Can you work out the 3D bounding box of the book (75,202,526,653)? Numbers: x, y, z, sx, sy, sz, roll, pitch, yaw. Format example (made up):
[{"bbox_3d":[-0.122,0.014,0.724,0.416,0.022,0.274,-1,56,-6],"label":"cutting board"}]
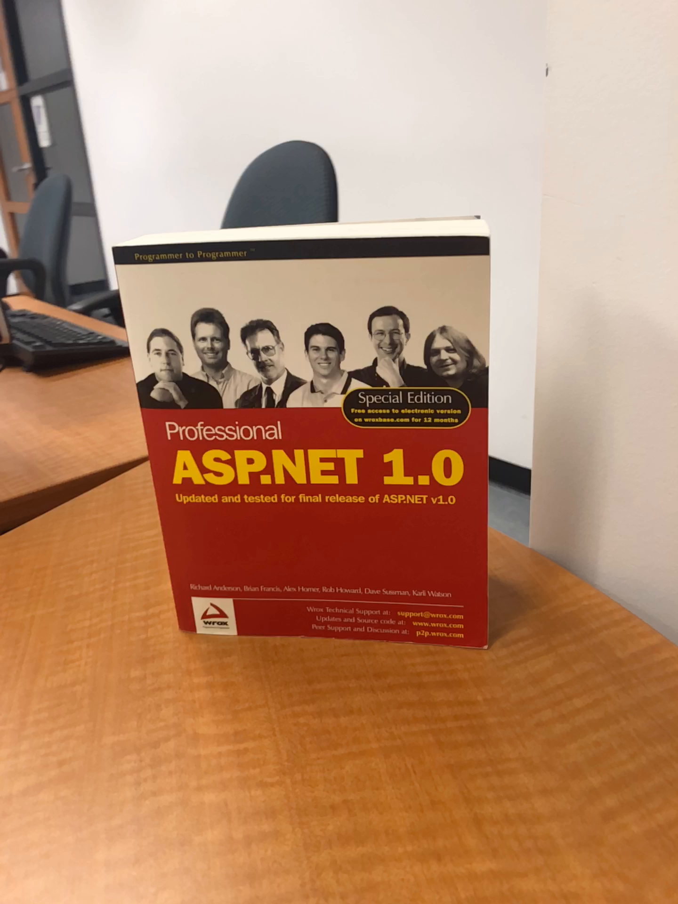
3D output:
[{"bbox_3d":[-0.012,-0.008,0.405,0.210,0.229,0.050,1,22,10],"label":"book"}]
